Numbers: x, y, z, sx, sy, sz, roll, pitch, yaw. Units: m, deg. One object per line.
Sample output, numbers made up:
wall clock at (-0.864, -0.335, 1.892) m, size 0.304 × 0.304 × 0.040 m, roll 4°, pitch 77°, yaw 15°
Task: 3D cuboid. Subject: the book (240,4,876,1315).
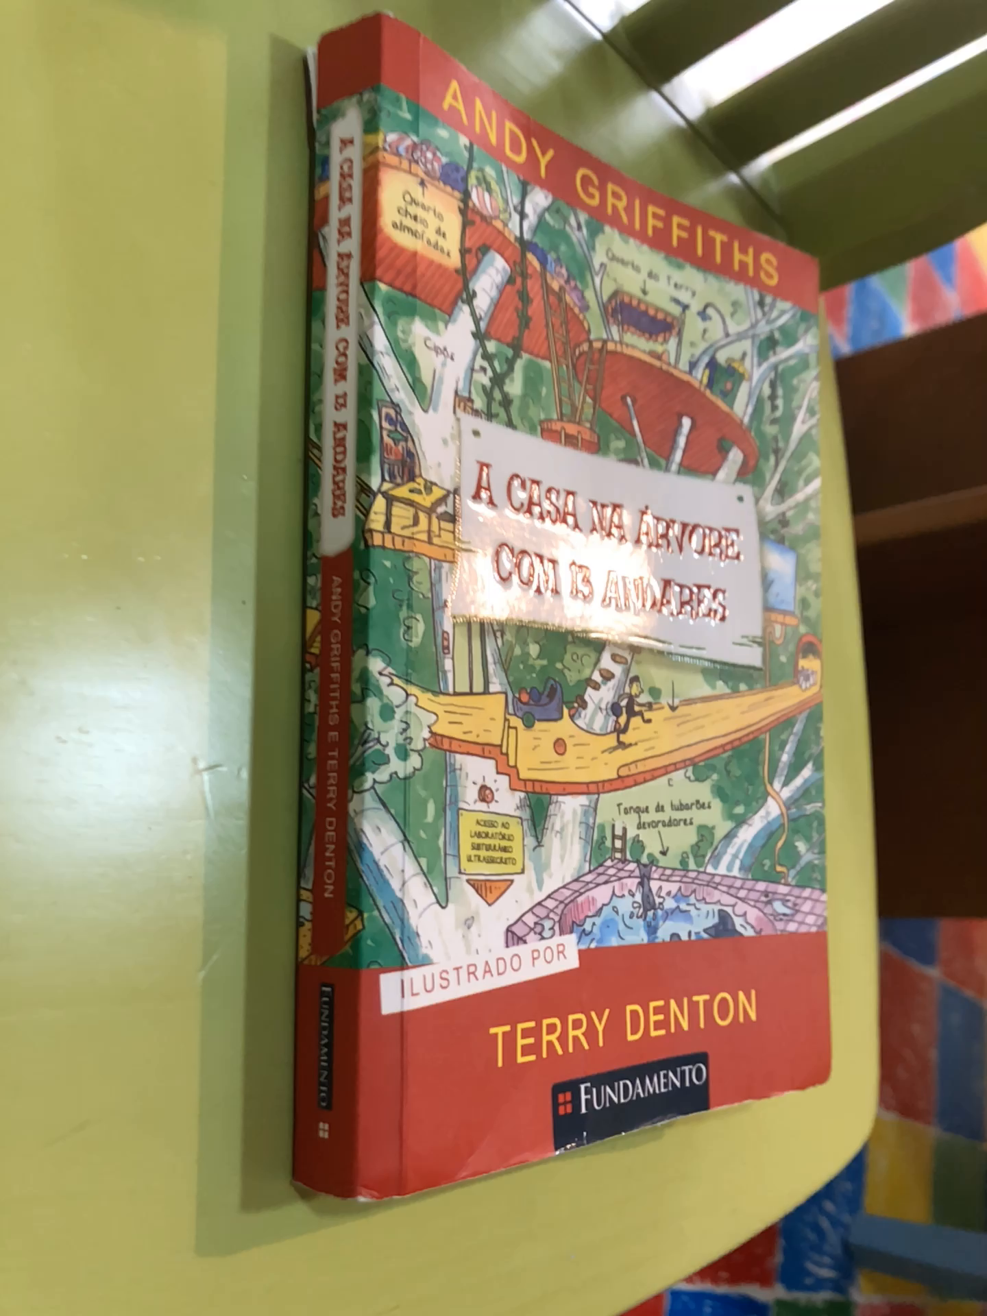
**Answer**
book at (0.022, 0.000, 0.234) m, size 0.138 × 0.040 × 0.210 m, roll 9°, pitch 77°, yaw -42°
